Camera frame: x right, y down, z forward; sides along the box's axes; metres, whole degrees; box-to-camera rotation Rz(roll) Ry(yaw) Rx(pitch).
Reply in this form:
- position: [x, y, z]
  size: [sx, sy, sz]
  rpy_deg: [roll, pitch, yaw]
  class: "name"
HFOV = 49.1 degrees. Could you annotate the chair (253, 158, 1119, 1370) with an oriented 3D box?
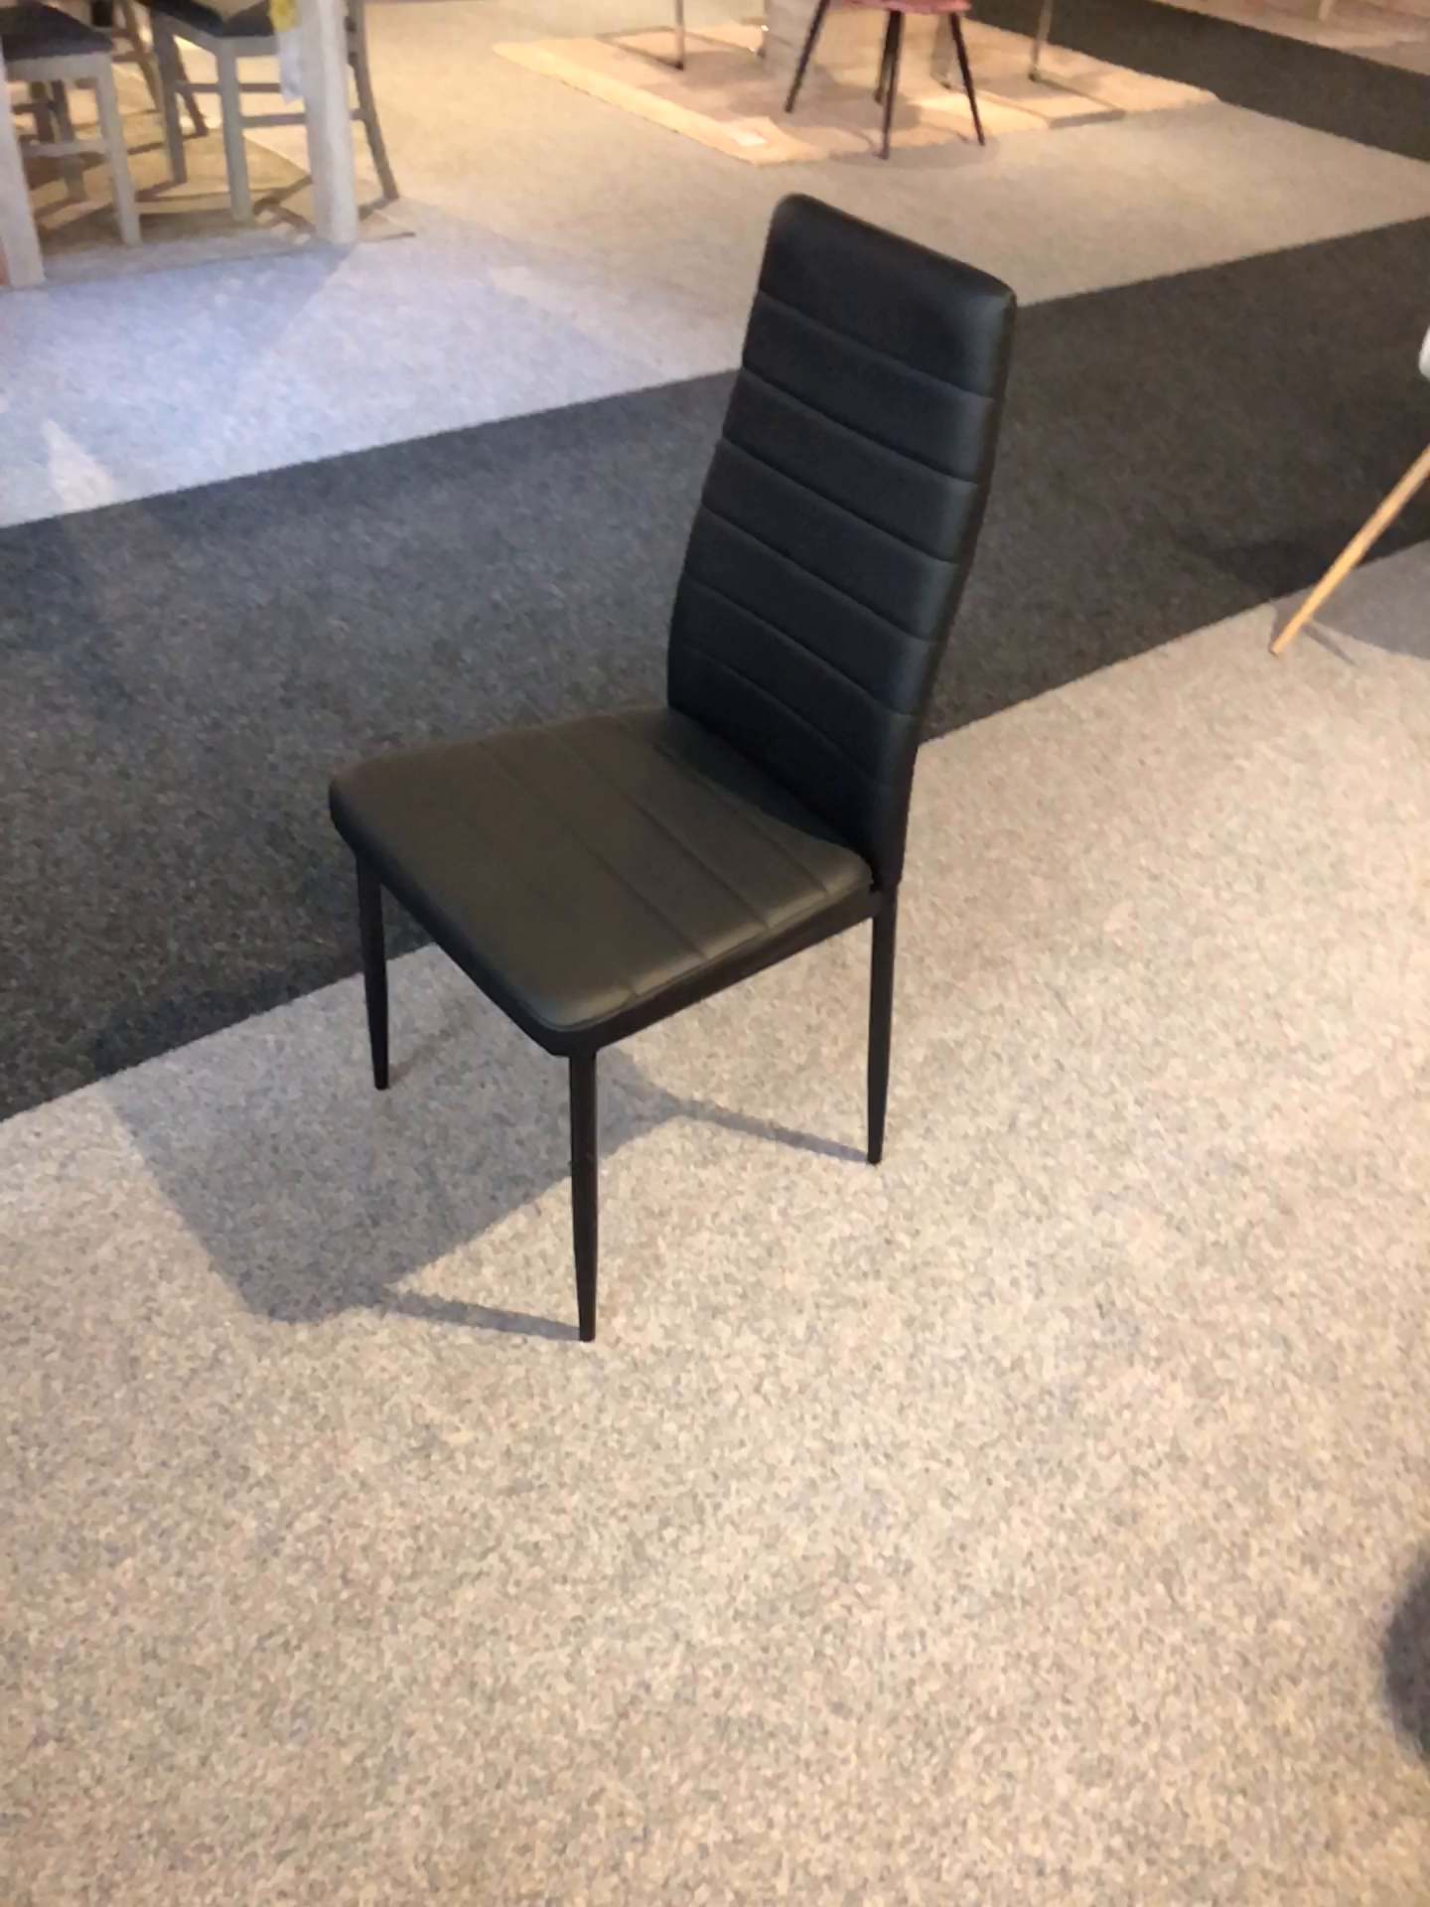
- position: [-0.060, -0.162, 1.478]
  size: [0.472, 0.934, 0.471]
  rpy_deg: [-22, 47, -29]
  class: "chair"
